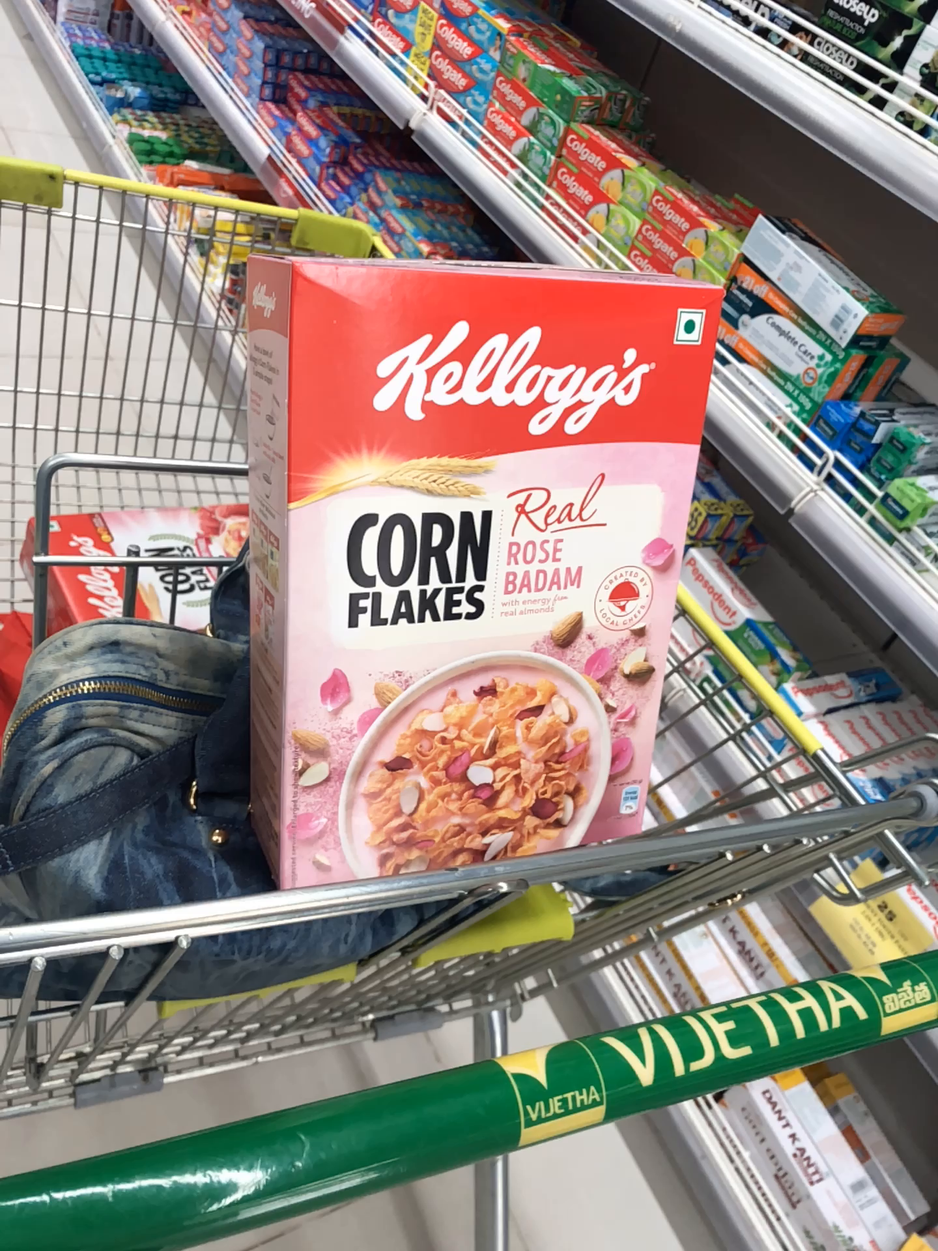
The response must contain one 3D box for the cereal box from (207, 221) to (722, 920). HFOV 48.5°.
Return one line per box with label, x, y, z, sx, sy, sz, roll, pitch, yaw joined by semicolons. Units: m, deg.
cereal box;-0.013;-0.021;0.466;0.190;0.279;0.070;-6;27;-26
